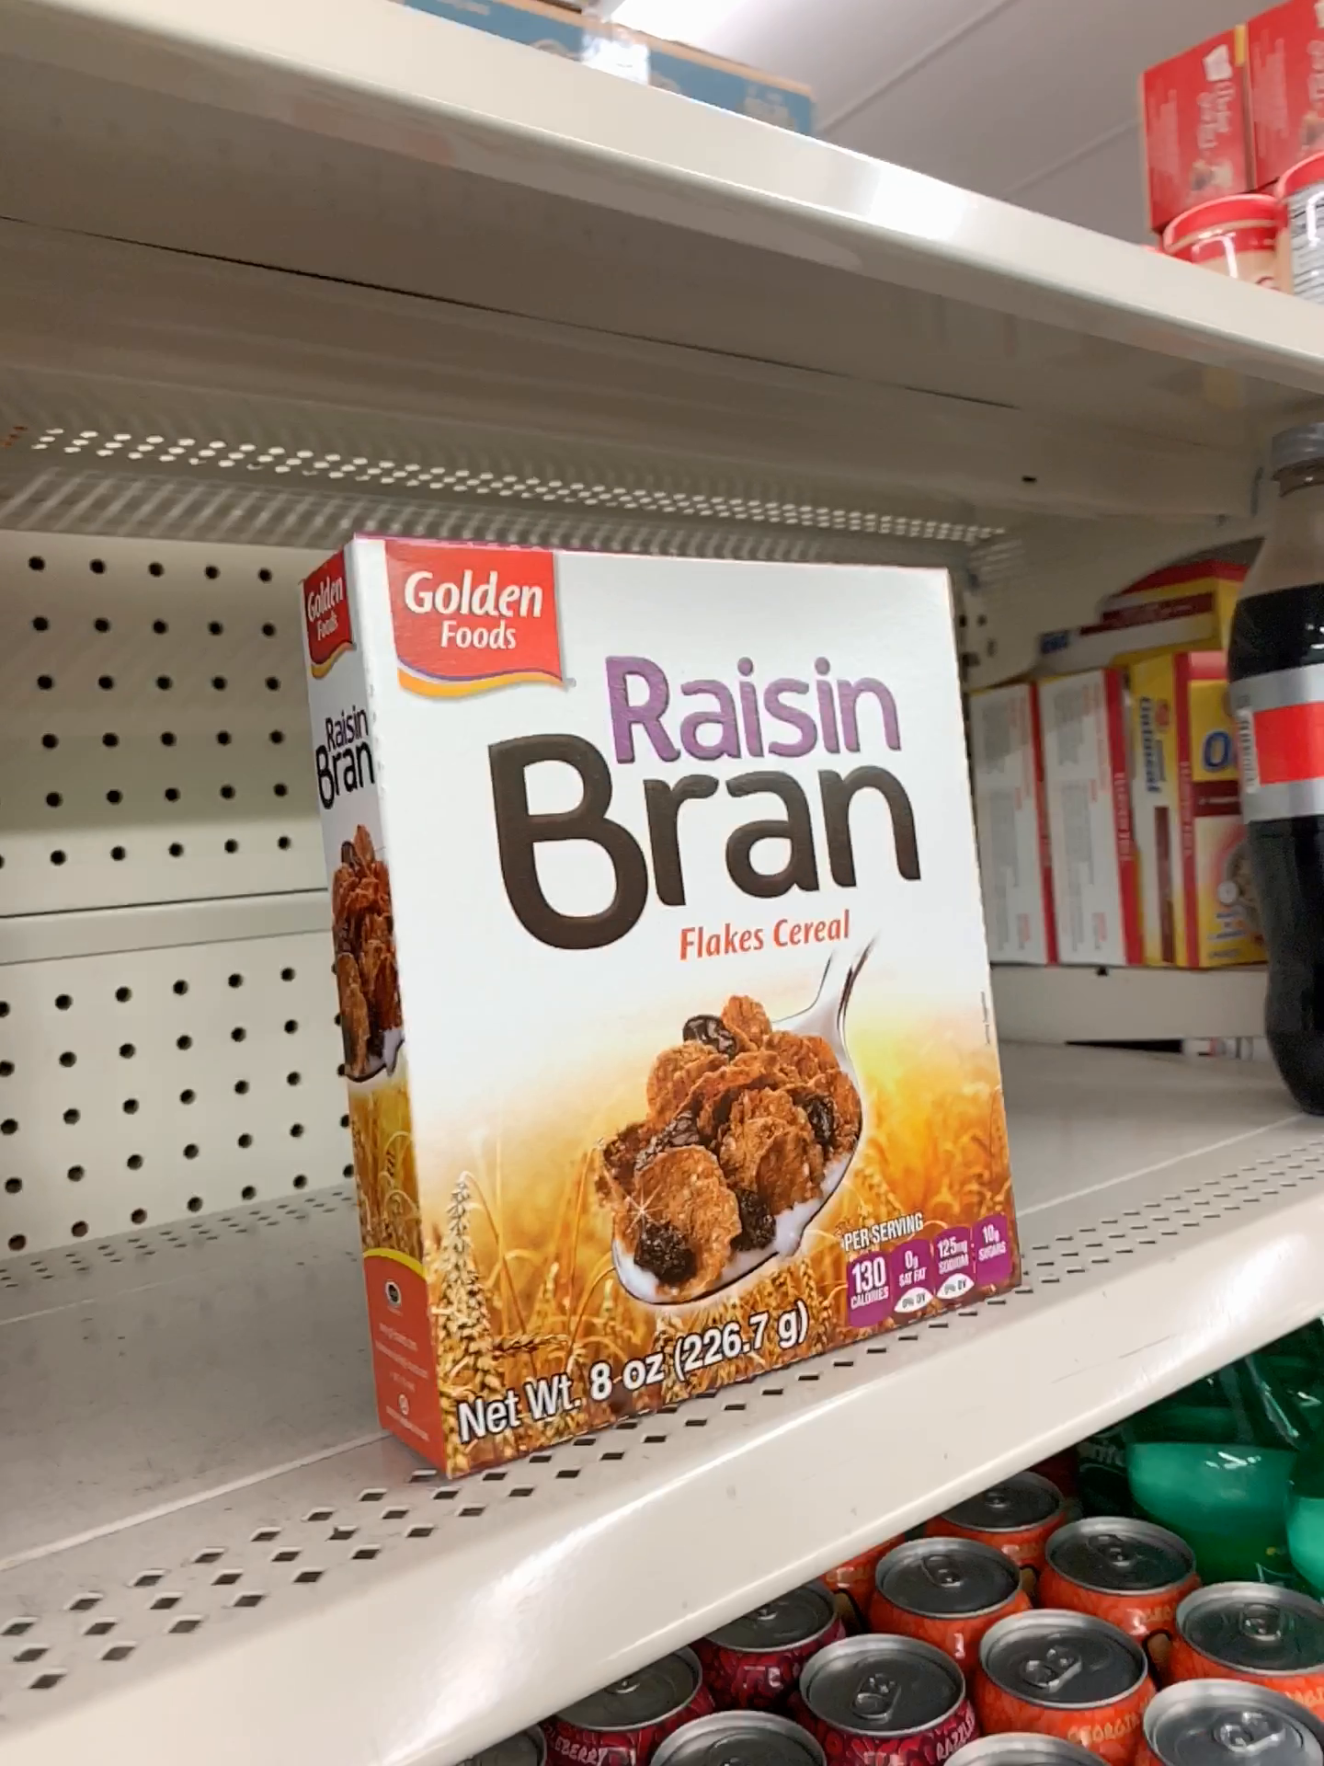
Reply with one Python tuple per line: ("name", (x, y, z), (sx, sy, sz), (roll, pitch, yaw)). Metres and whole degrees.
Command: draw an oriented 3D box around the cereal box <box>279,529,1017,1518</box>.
("cereal box", (0.003, 0.025, 0.388), (0.190, 0.230, 0.050), (-5, -1, -32))
